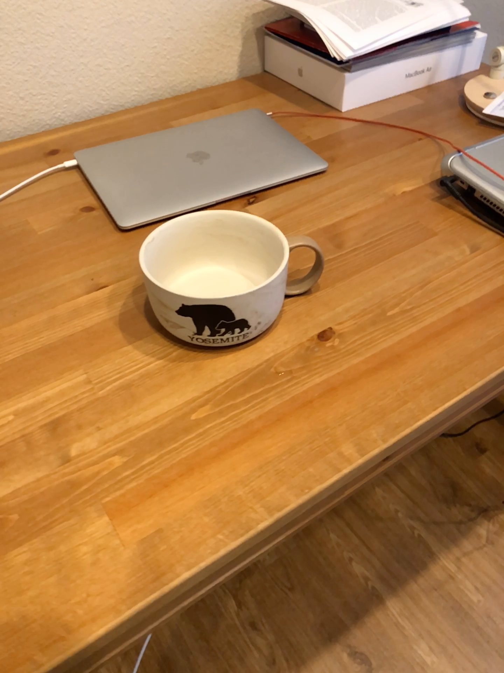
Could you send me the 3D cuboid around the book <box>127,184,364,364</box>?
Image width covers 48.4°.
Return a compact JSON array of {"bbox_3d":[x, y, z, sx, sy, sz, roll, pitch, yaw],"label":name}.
[{"bbox_3d":[-0.012,-0.064,0.532,0.190,0.080,0.131,-10,45,-8],"label":"book"}]
